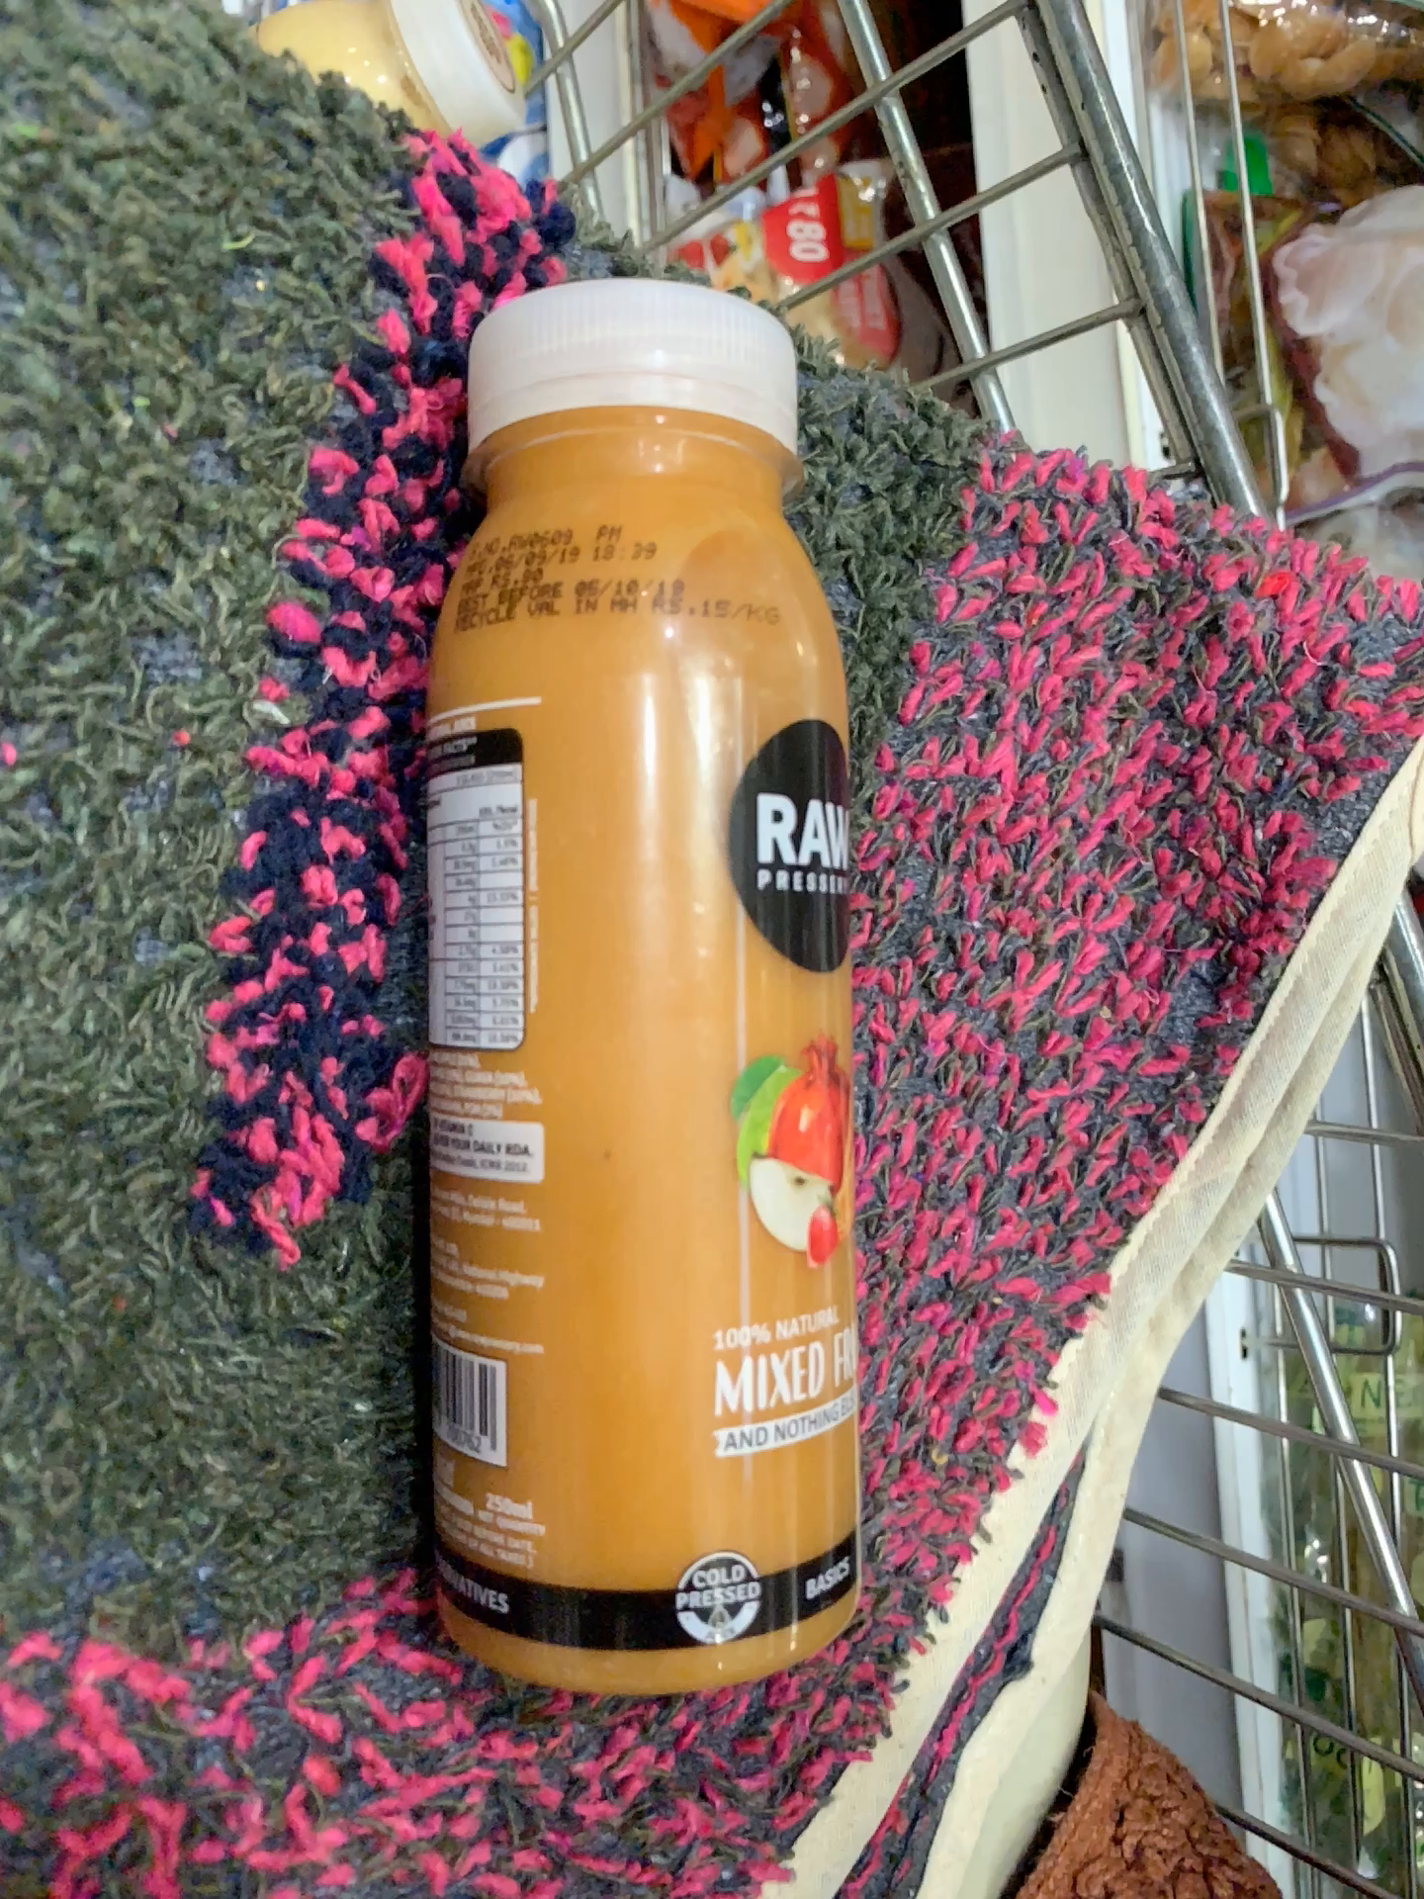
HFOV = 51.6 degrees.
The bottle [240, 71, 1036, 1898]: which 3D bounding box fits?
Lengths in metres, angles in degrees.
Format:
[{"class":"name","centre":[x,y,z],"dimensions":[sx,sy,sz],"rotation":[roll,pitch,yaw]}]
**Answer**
[{"class":"bottle","centre":[-0.005,0.006,0.157],"dimensions":[0.060,0.060,0.150],"rotation":[3,86,-60]}]
